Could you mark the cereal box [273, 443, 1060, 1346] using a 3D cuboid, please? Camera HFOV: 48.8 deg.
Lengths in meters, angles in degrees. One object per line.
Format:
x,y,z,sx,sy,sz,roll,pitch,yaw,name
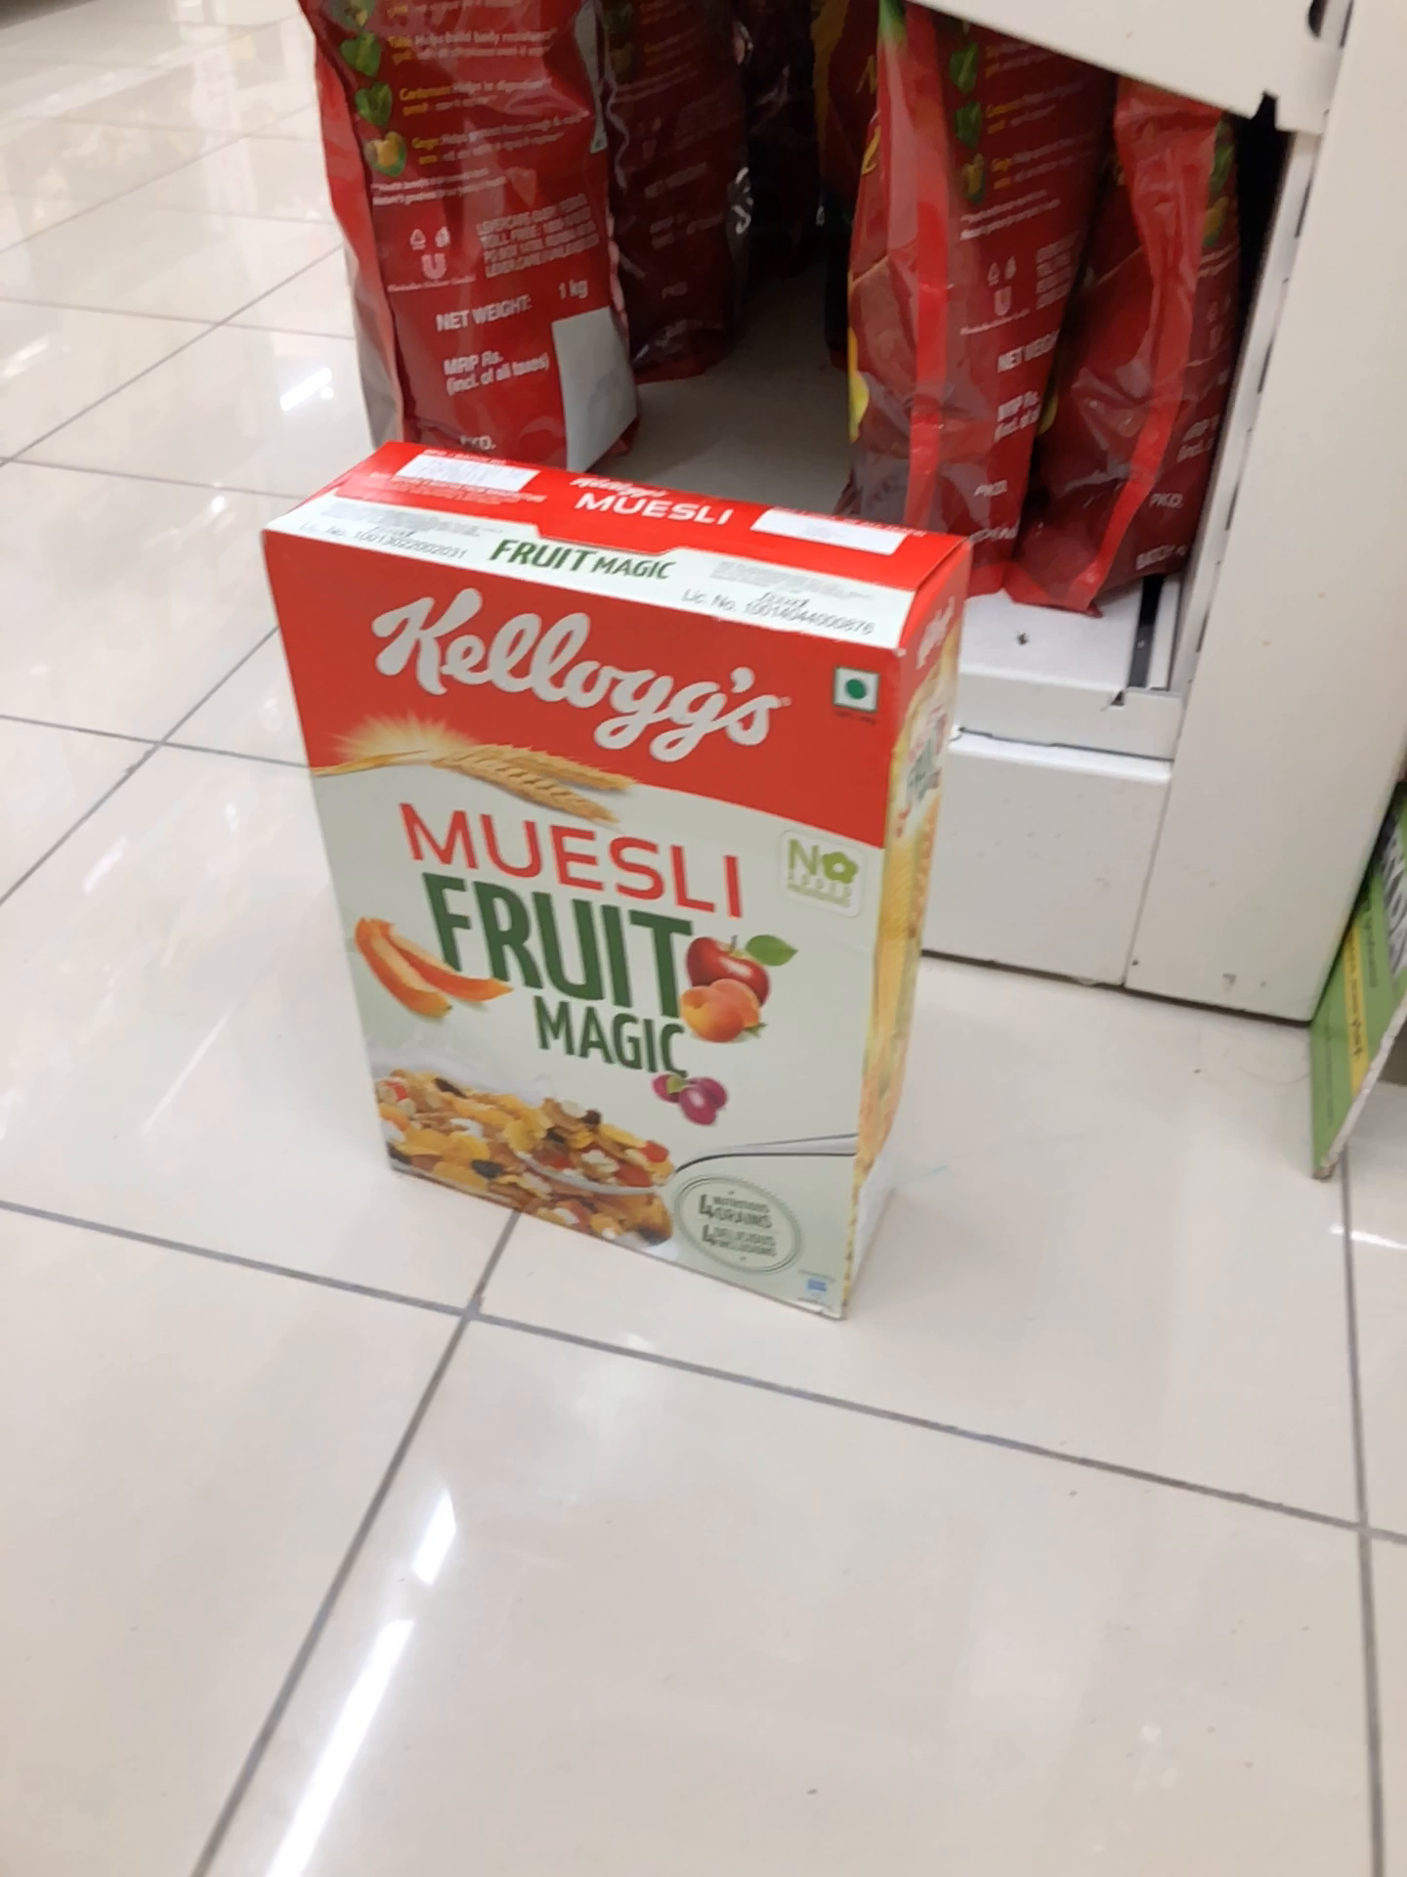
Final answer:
-0.009,-0.009,0.481,0.190,0.238,0.081,15,42,18,cereal box
